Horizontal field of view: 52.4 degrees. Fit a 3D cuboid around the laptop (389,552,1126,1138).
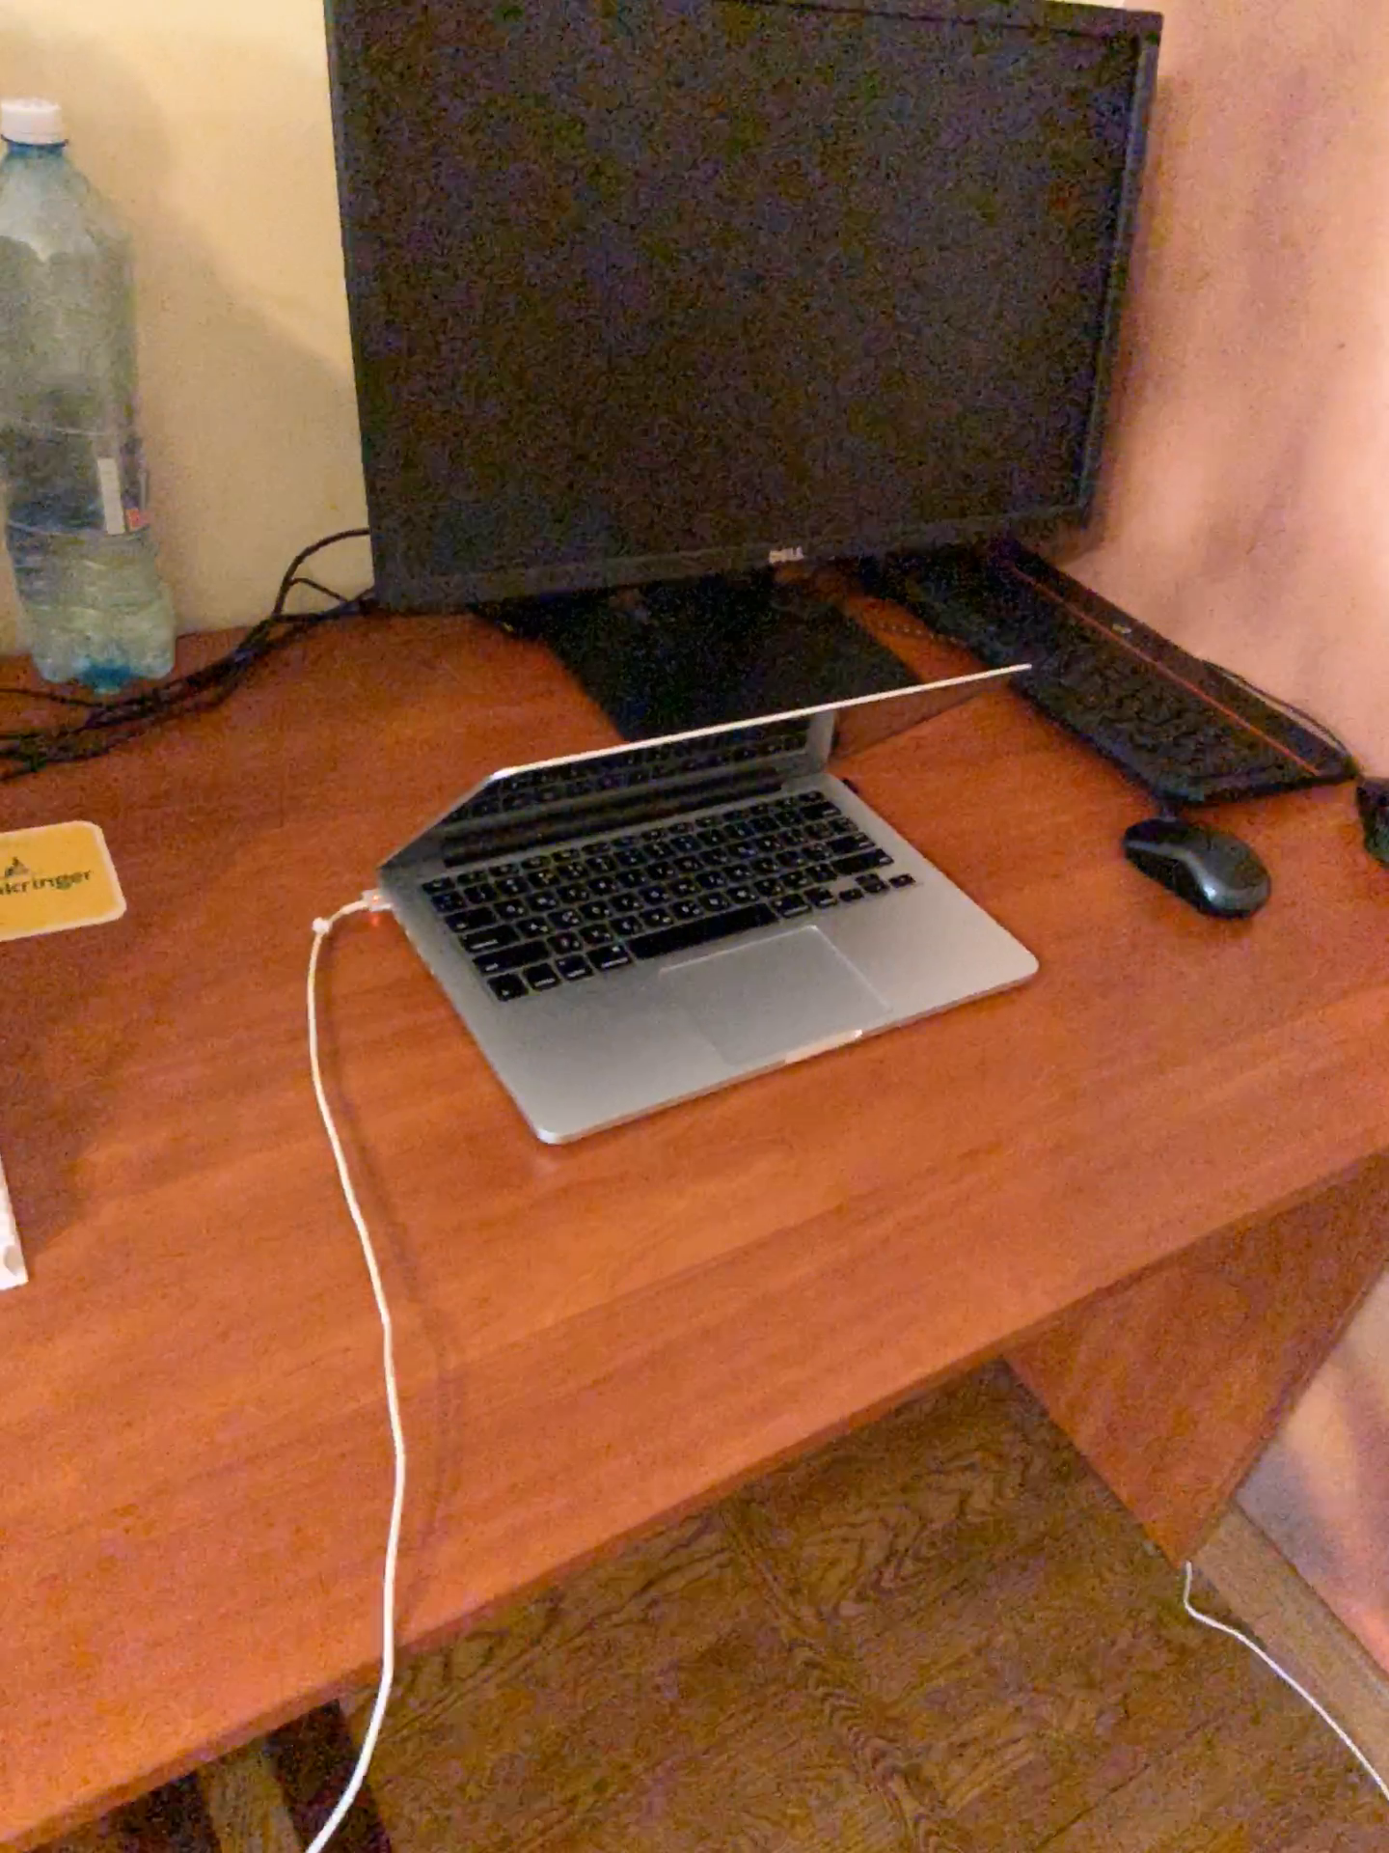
[{"bbox_3d":[0.023,-0.062,0.728,0.303,0.150,0.208,-16,44,-30],"label":"laptop"}]
